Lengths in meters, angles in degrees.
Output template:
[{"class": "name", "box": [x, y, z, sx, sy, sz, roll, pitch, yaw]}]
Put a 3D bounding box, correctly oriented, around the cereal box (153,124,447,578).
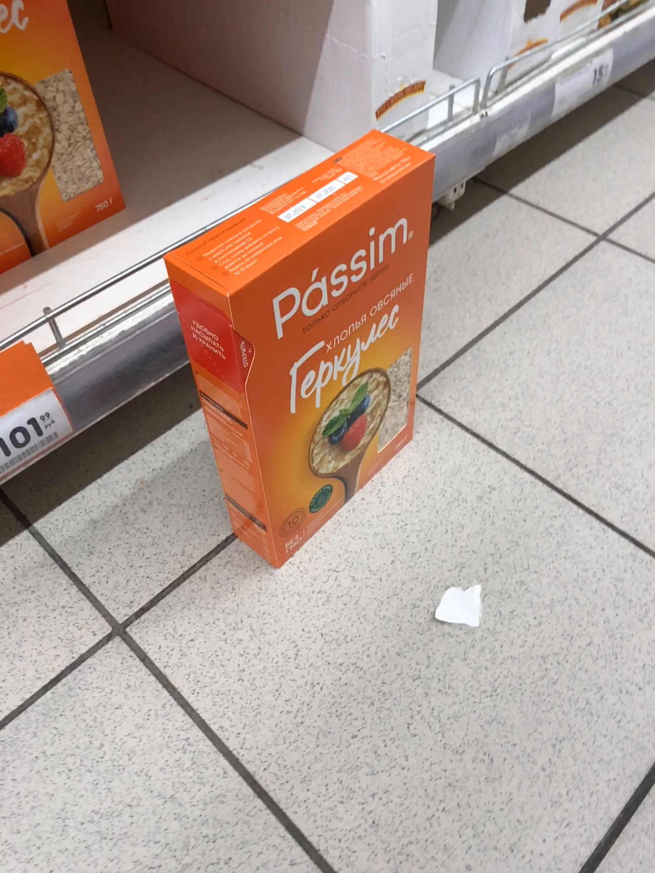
[{"class": "cereal box", "box": [-0.004, -0.041, 0.470, 0.050, 0.249, 0.171, 33, 59, 26]}]
